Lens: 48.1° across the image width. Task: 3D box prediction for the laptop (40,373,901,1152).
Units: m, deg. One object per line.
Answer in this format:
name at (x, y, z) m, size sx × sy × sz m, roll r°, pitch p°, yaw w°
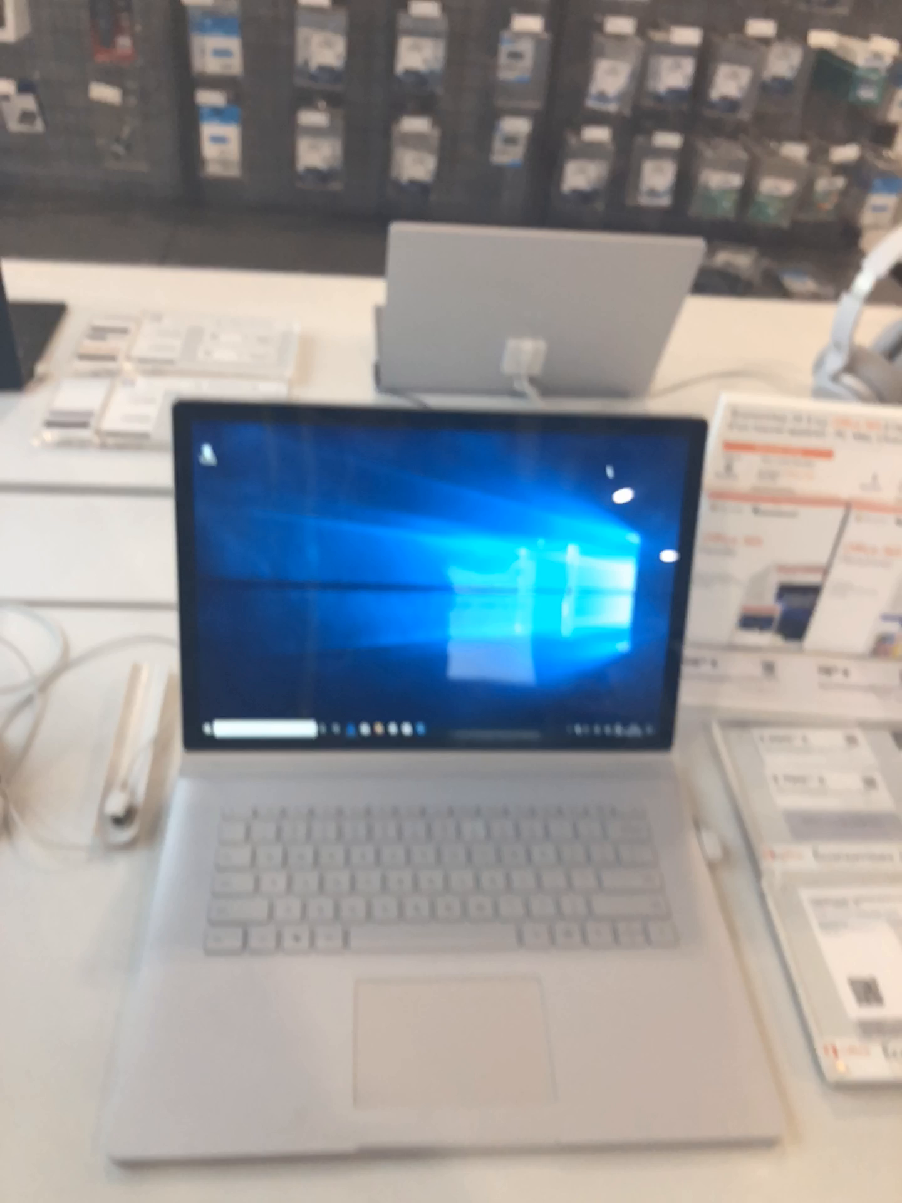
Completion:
laptop at (-0.002, 0.067, 0.578) m, size 0.338 × 0.207 × 0.366 m, roll 1°, pitch 42°, yaw -6°
